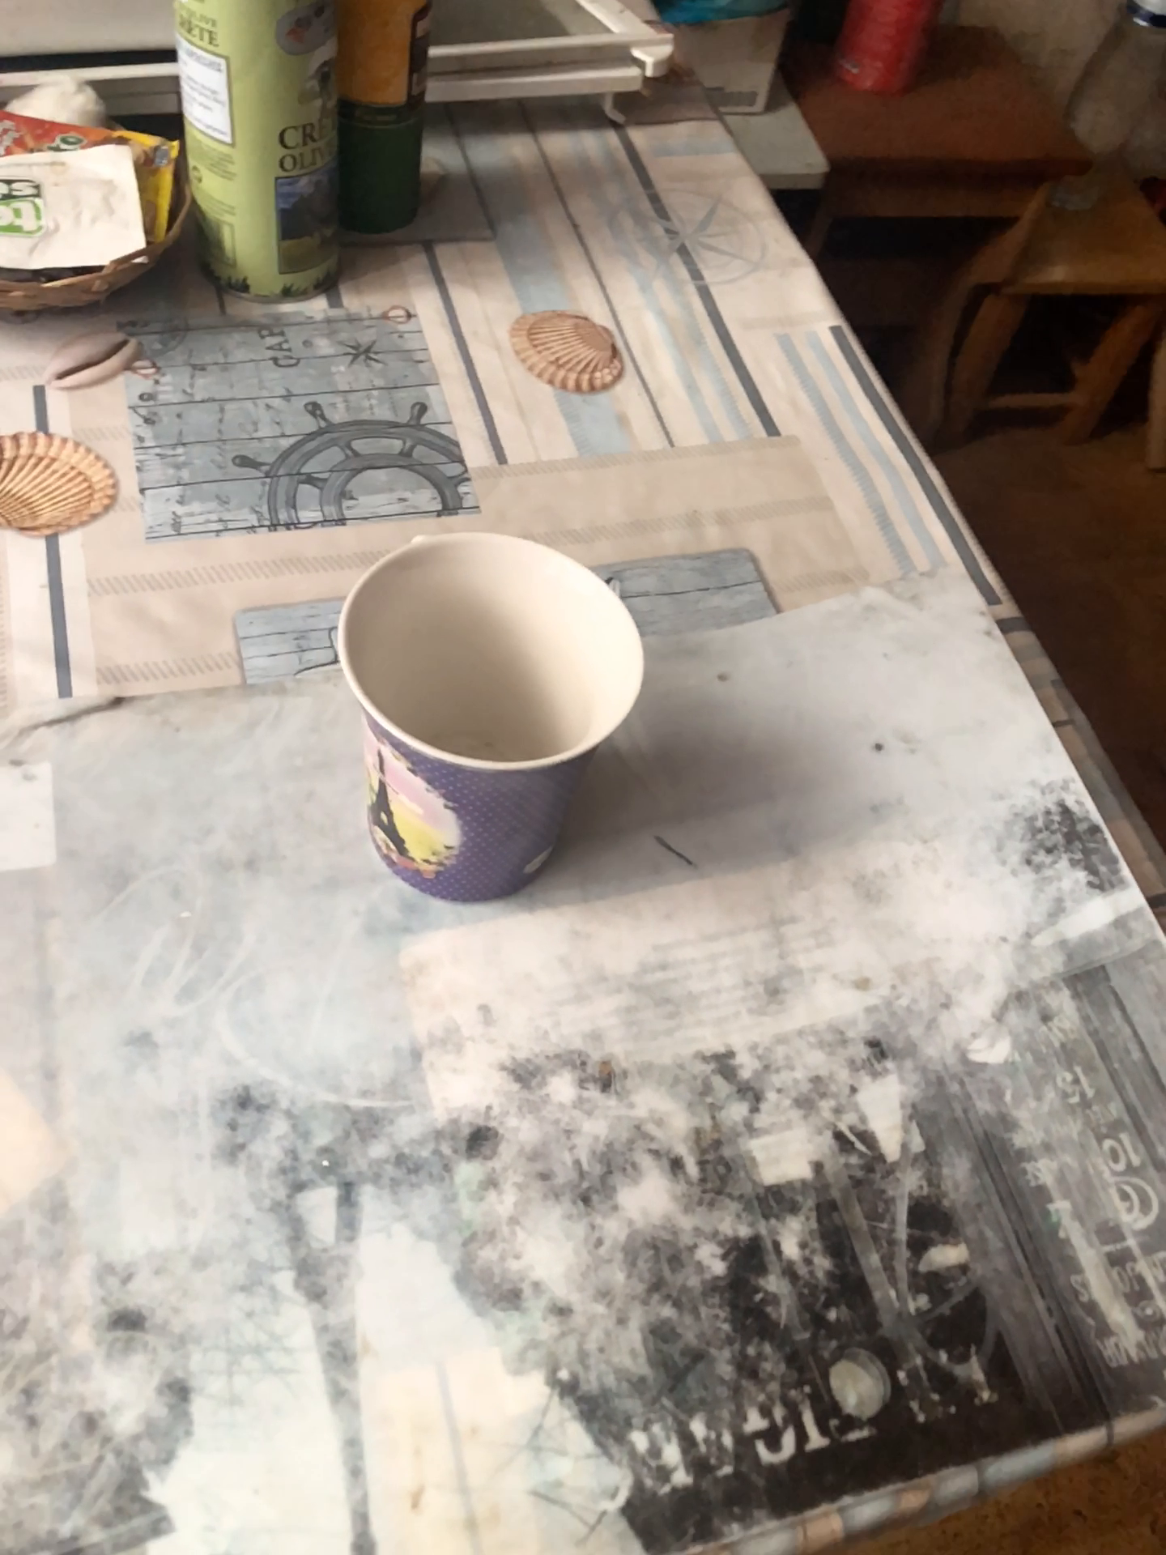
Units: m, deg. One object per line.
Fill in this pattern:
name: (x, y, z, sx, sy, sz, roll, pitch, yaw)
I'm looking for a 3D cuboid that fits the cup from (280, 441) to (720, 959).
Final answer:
cup: (-0.032, -0.026, 0.408, 0.090, 0.085, 0.120, -16, 60, -20)
